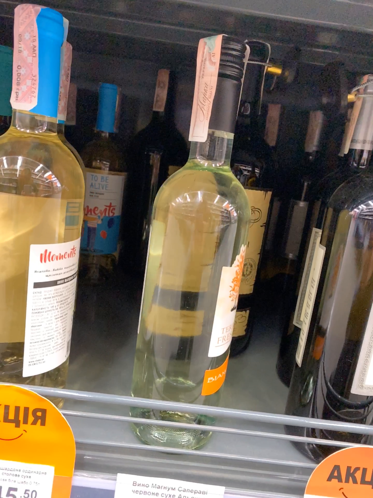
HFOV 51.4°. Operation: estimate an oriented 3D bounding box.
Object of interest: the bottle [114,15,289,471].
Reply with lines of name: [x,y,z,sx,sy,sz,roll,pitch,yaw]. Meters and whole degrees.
bottle: [0.008,0.004,0.286,0.070,0.294,0.070,8,14,-2]
